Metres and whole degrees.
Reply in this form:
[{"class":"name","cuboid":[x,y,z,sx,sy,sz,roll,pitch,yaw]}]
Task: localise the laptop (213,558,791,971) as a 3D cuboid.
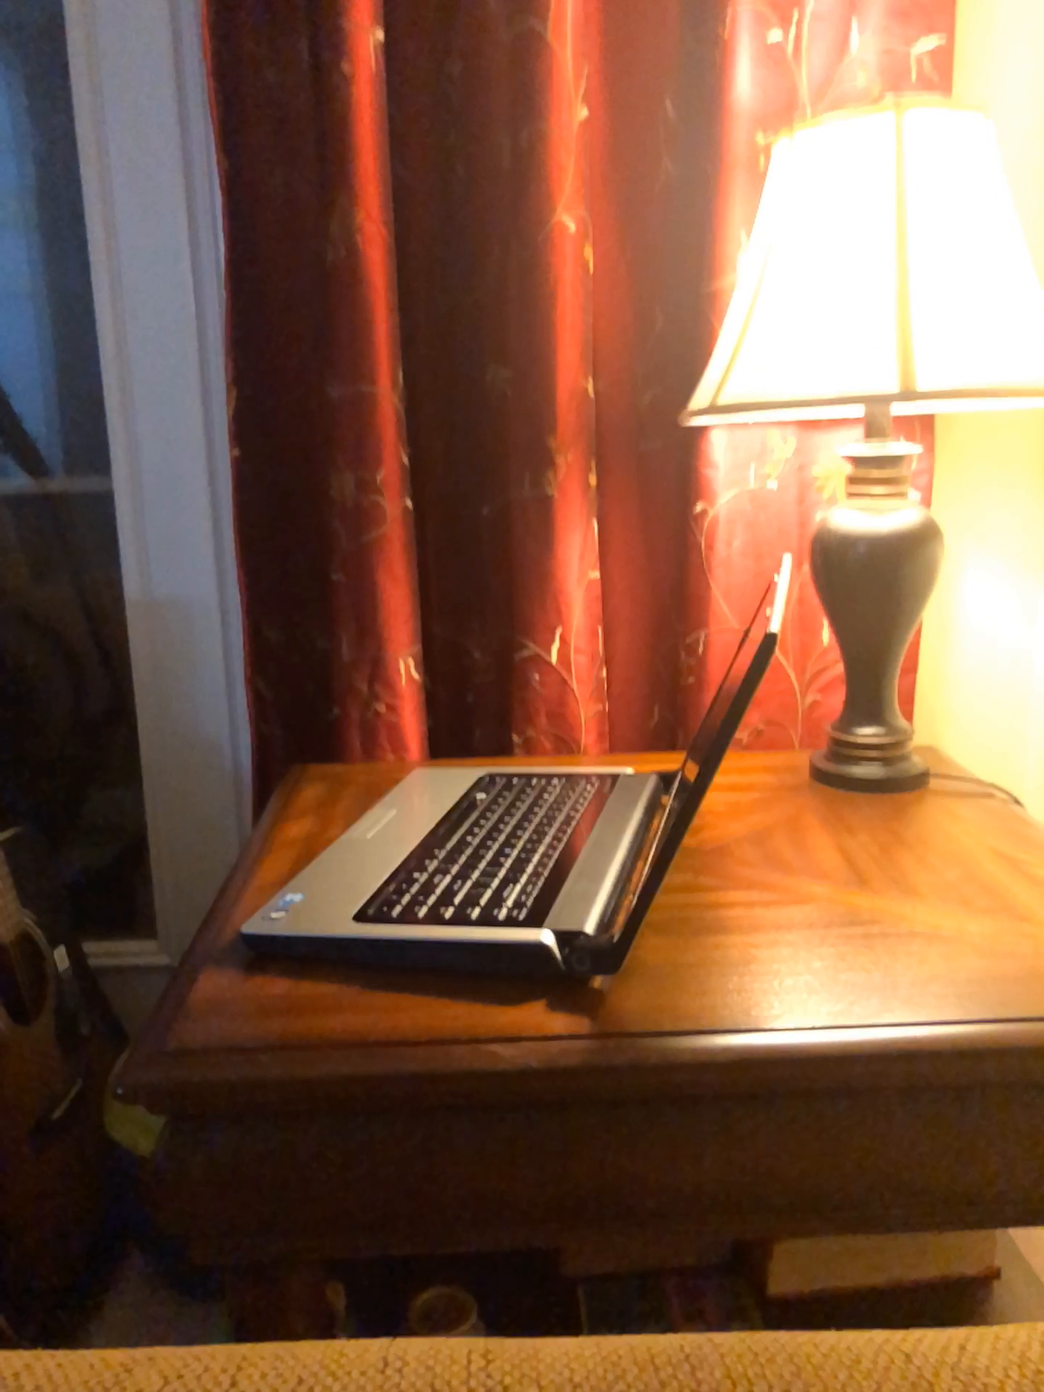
[{"class":"laptop","cuboid":[0.021,0.019,0.879,0.350,0.204,0.363,2,14,13]}]
